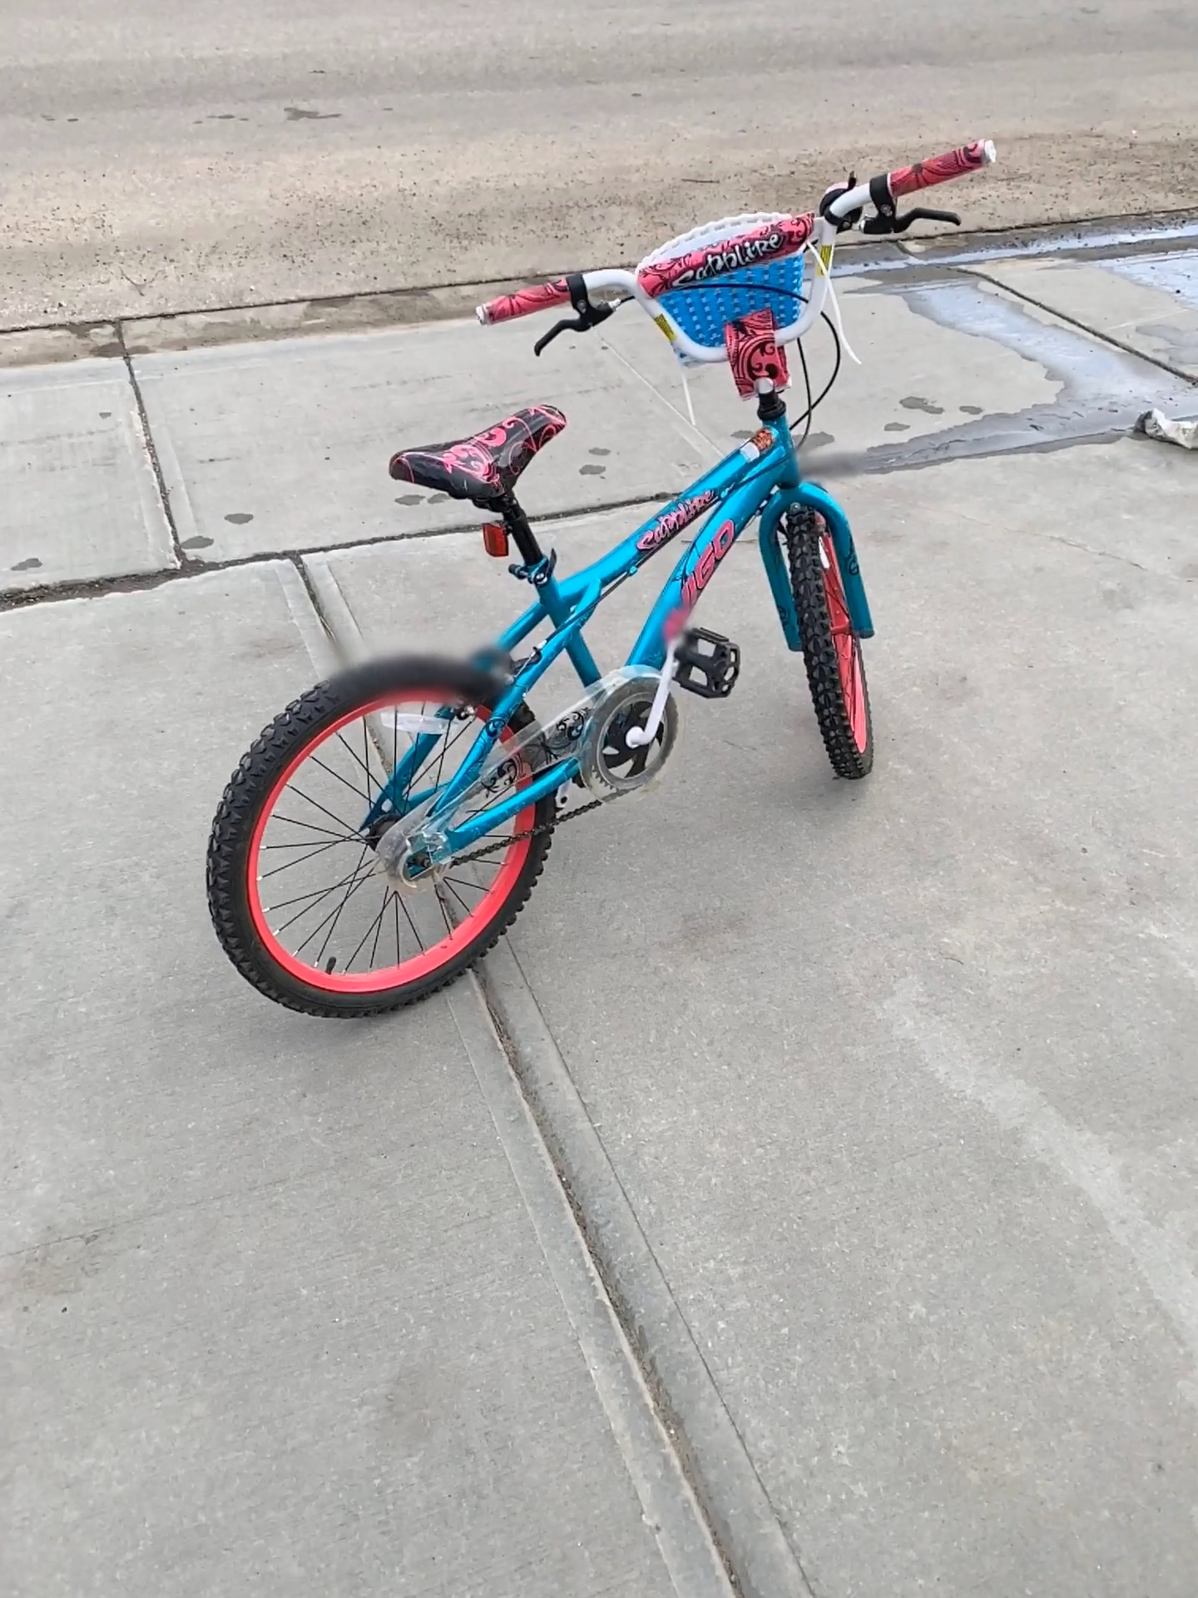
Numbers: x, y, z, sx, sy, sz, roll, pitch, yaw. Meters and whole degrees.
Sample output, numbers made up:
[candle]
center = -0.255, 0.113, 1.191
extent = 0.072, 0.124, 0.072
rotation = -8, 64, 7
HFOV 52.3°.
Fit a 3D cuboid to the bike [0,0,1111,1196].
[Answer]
[bike]
center = -0.060, -0.395, 1.674
extent = 0.746, 0.946, 1.260
rotation = 33, 51, 31
